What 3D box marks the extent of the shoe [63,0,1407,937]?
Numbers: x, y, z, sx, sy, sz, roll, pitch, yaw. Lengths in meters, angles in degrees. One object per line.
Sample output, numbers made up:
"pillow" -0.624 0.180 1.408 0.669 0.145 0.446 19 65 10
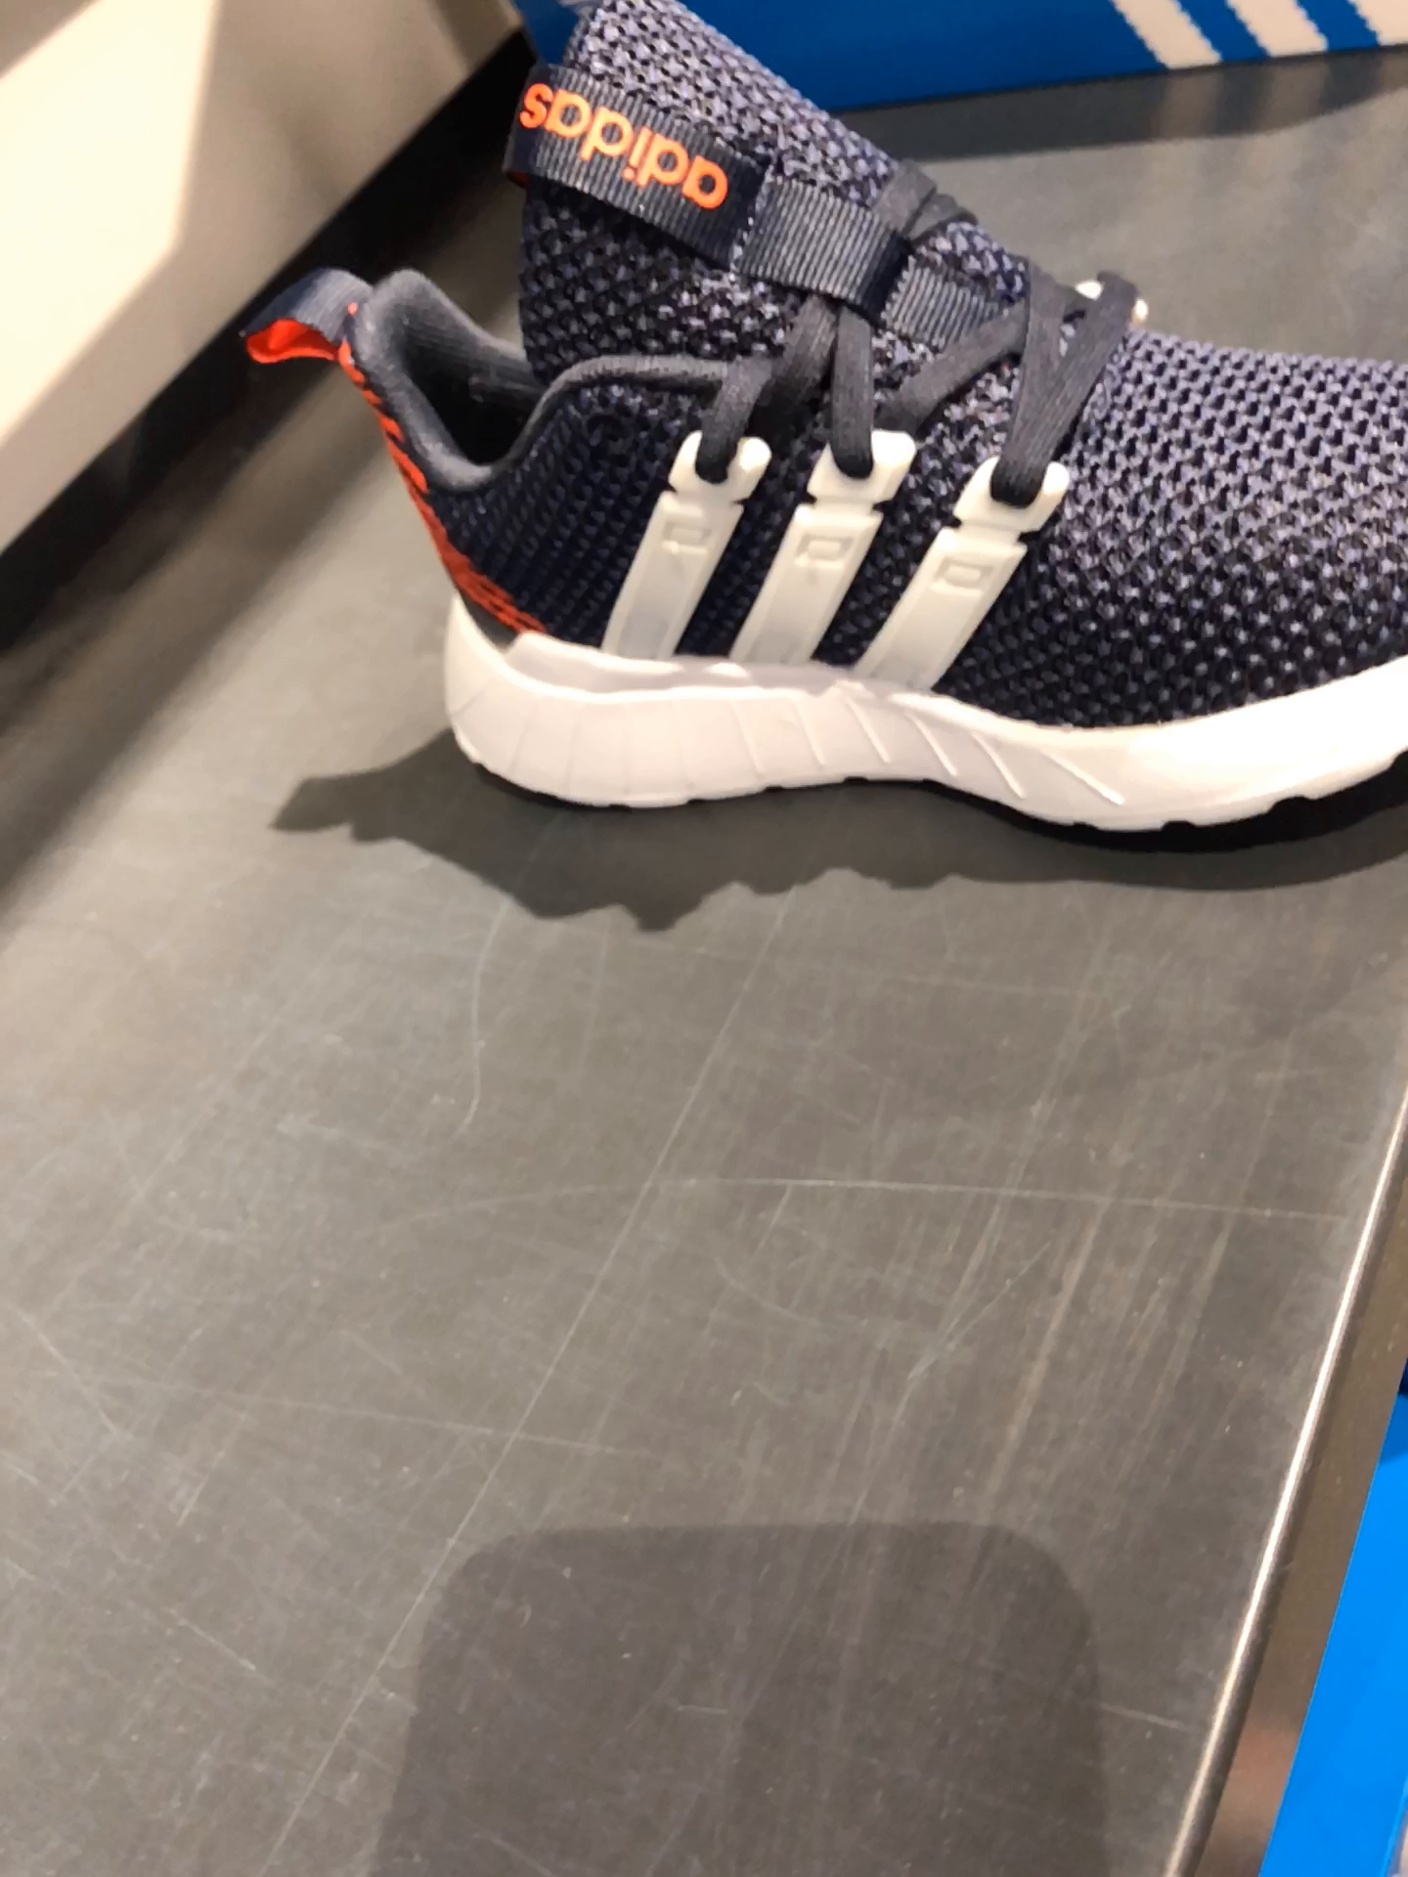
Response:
"shoe" 0.022 -0.081 0.248 0.201 0.110 0.090 8 55 35
